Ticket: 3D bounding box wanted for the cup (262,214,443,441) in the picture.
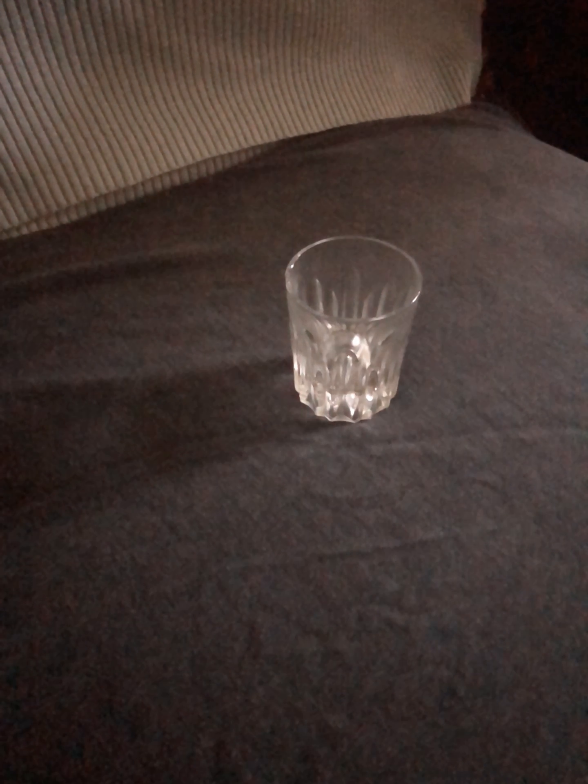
[{"bbox_3d":[0.023,-0.029,0.299,0.059,0.078,0.048,-18,49,-17],"label":"cup"}]
